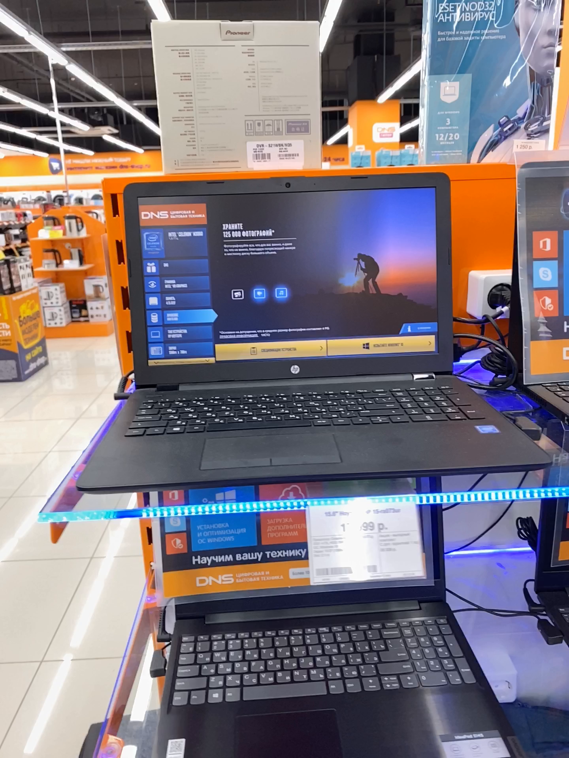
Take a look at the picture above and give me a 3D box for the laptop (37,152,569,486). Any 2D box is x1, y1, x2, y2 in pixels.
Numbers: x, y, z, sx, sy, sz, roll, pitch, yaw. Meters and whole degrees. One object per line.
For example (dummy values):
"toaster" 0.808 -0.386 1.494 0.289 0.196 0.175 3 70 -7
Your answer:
"laptop" 0.018 -0.081 0.585 0.388 0.235 0.323 -2 16 -2
